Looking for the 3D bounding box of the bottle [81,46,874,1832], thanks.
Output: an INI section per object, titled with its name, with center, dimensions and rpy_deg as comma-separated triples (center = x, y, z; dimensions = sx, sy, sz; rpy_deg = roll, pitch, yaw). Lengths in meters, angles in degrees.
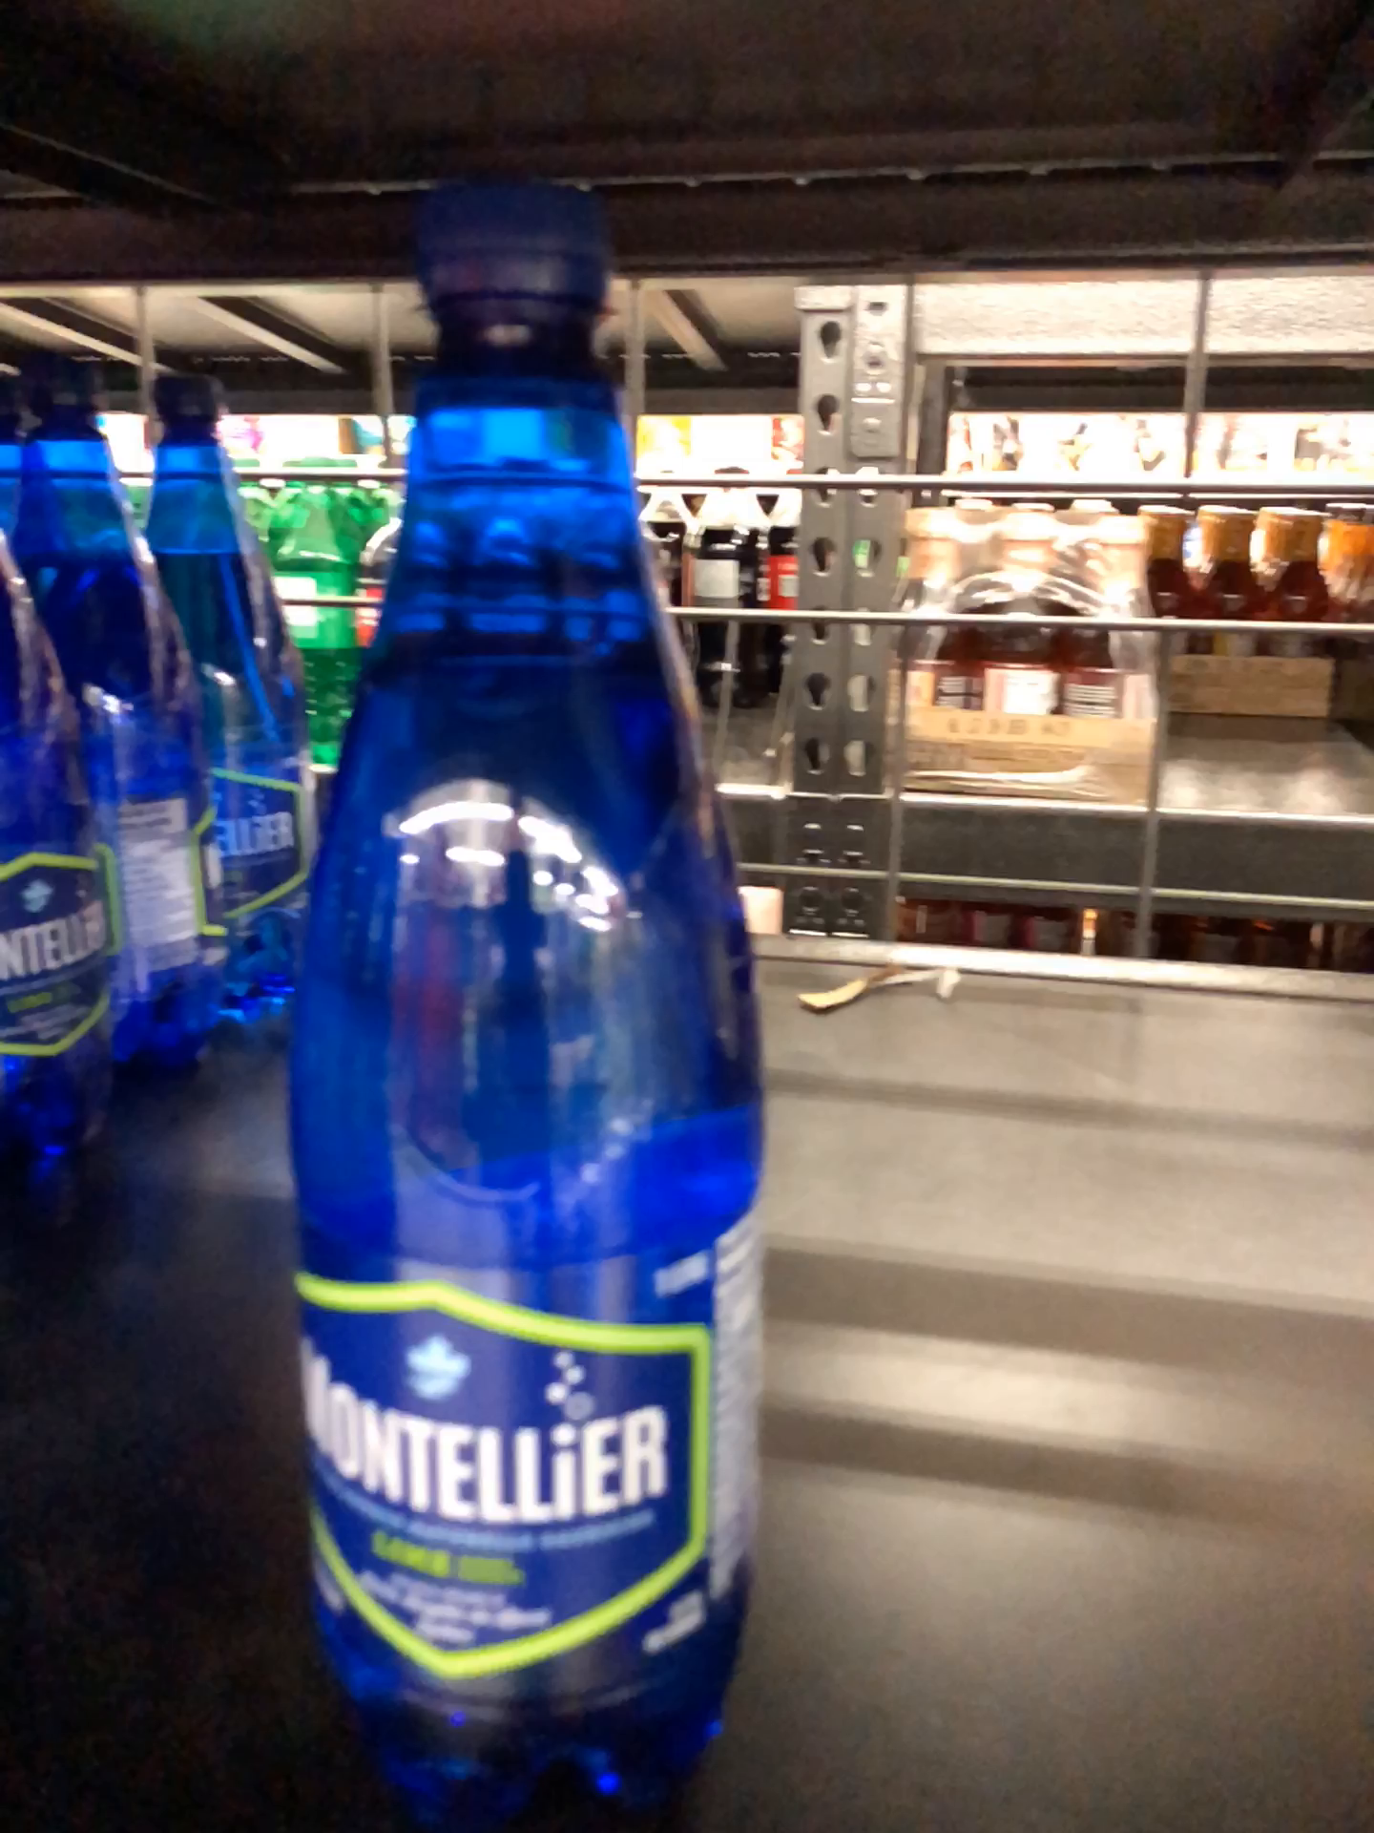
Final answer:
[bottle]
center = -0.026, 0.015, 0.278
dimensions = 0.100, 0.289, 0.090
rpy_deg = 4, 15, 13
